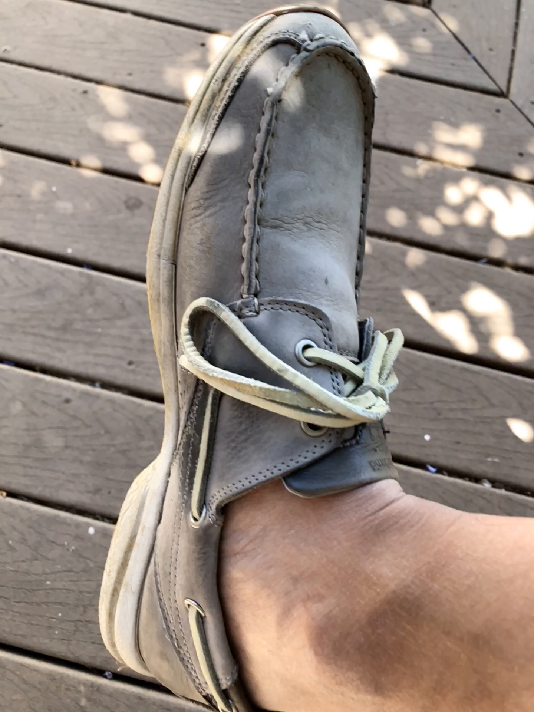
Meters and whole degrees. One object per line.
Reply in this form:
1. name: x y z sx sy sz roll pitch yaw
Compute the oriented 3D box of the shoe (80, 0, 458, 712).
1. shoe: 0.006 0.010 0.269 0.083 0.116 0.326 8 93 36
